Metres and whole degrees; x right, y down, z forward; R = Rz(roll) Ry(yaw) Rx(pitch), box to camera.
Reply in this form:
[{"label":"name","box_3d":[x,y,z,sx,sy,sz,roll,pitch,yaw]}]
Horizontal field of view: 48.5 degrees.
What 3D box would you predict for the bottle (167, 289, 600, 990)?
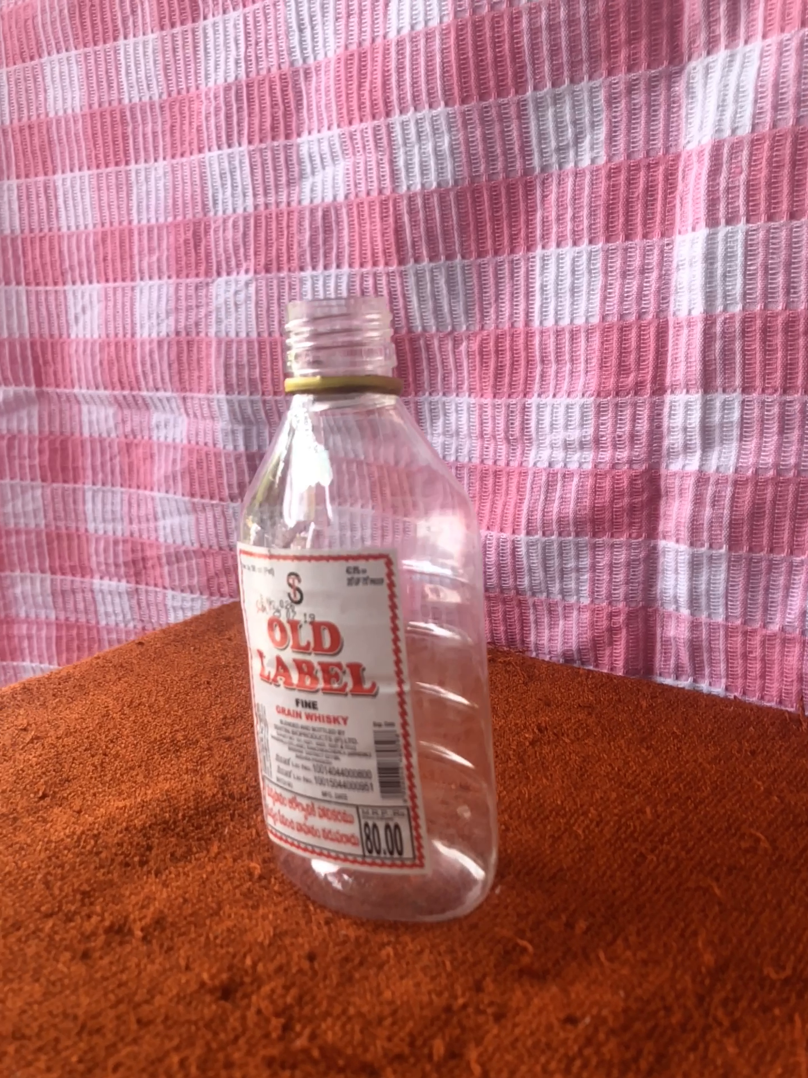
[{"label":"bottle","box_3d":[-0.002,0.015,0.199,0.070,0.130,0.050,6,17,39]}]
